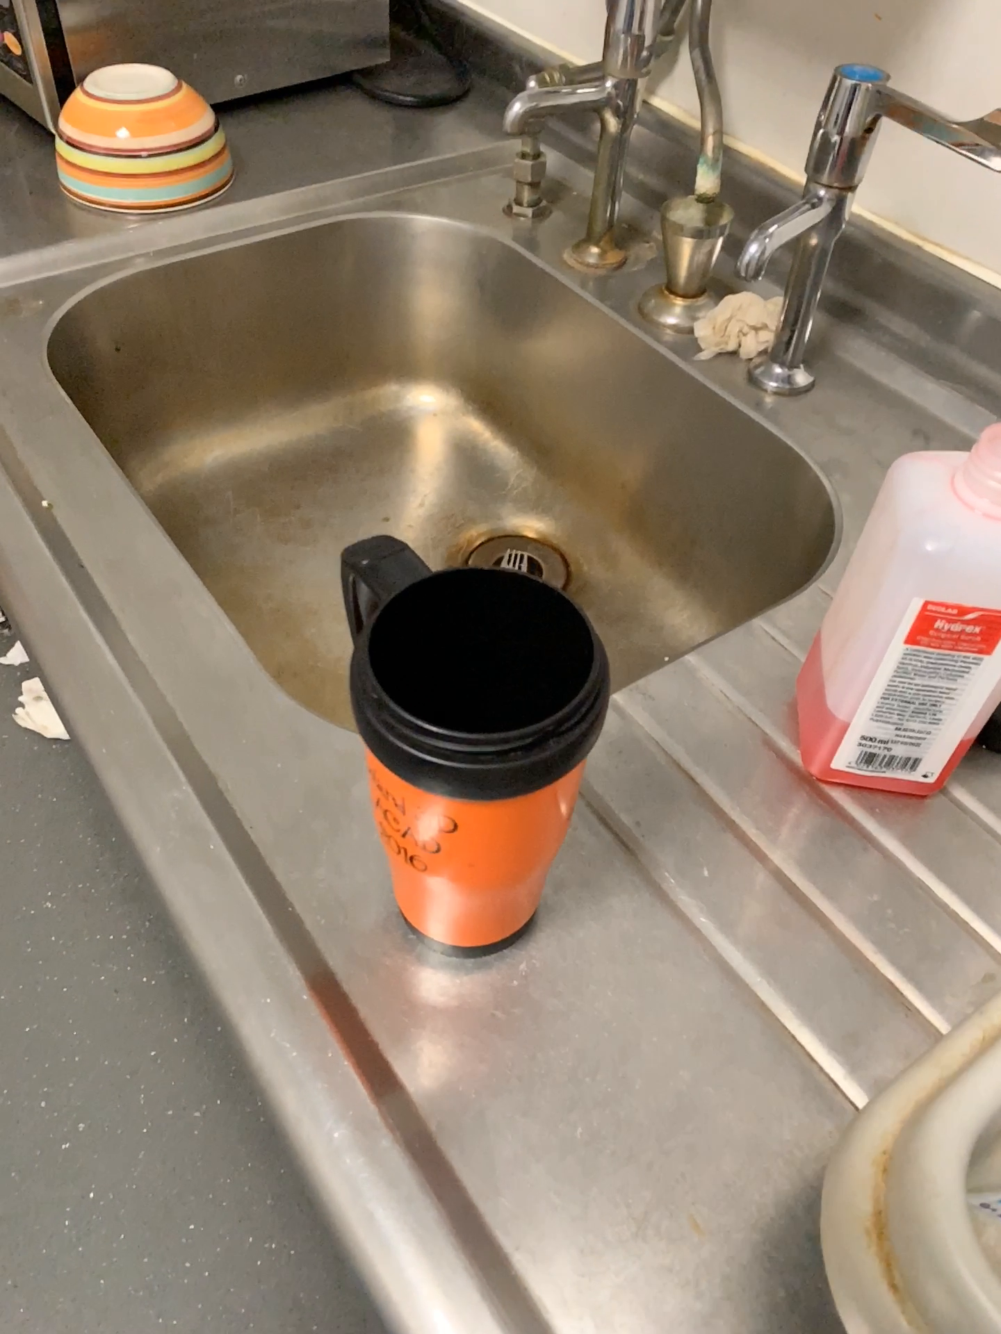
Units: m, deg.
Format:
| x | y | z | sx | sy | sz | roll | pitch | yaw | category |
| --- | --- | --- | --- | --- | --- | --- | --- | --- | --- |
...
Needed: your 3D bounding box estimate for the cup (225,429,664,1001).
| x | y | z | sx | sy | sz | roll | pitch | yaw | category |
| --- | --- | --- | --- | --- | --- | --- | --- | --- | --- |
| -0.027 | 0.021 | 0.410 | 0.090 | 0.164 | 0.135 | -27 | 55 | -25 | cup |
